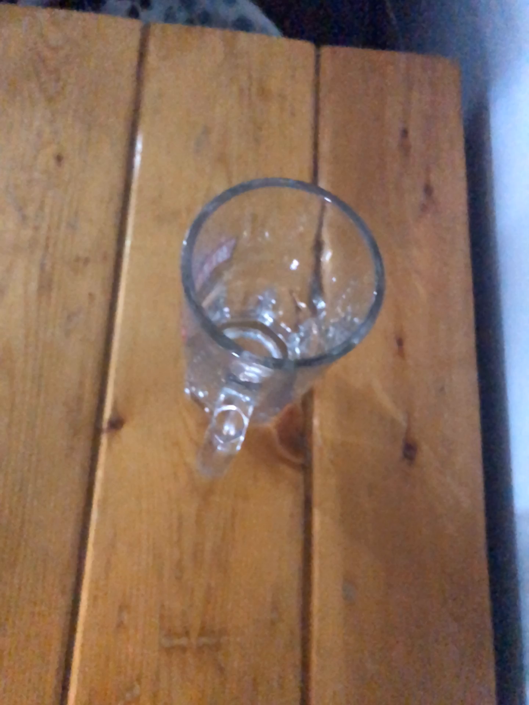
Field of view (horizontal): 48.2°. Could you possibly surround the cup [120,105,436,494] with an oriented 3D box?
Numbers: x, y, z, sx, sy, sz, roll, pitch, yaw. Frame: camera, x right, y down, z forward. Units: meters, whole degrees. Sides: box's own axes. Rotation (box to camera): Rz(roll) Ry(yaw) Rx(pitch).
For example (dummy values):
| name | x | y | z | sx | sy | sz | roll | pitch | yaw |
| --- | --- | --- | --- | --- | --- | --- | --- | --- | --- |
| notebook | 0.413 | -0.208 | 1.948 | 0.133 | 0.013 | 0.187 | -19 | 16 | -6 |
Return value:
| name | x | y | z | sx | sy | sz | roll | pitch | yaw |
| --- | --- | --- | --- | --- | --- | --- | --- | --- | --- |
| cup | 0.001 | -0.009 | 0.385 | 0.110 | 0.210 | 0.160 | 19 | 72 | -1 |
